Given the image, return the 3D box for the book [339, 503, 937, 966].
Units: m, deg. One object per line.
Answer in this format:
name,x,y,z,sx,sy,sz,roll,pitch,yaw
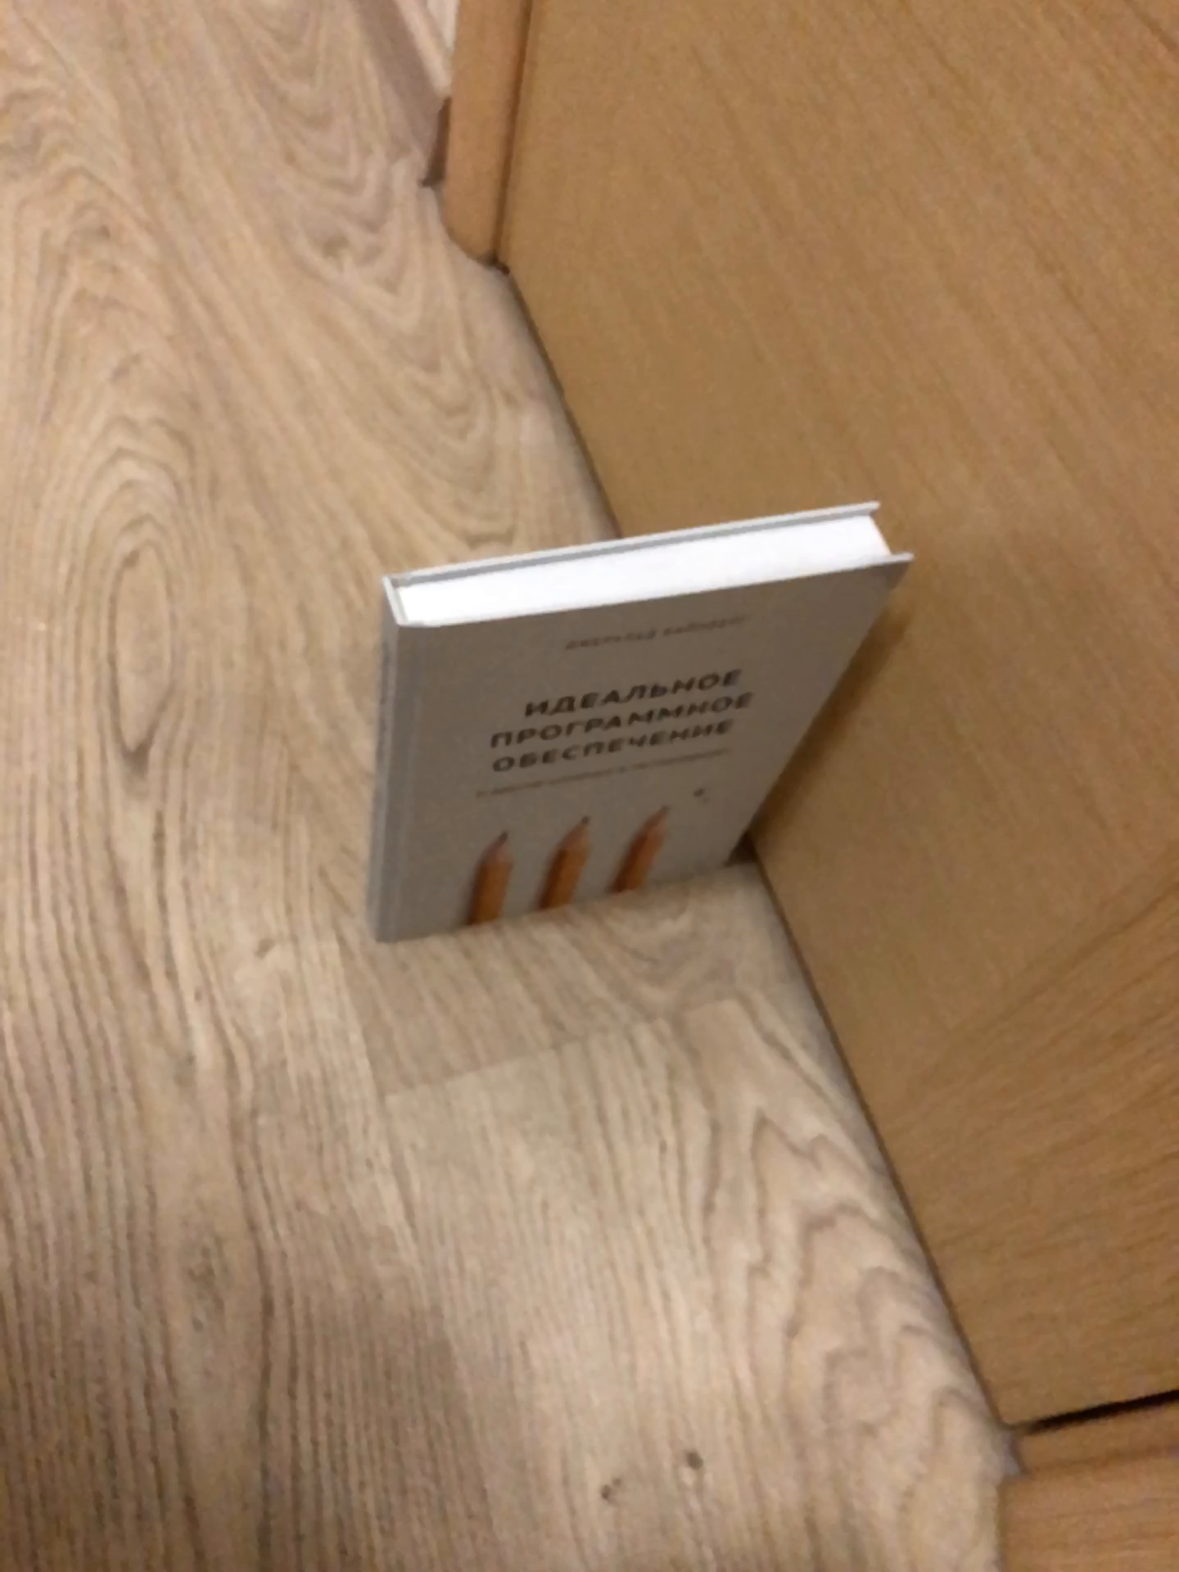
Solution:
book,0.000,-0.007,0.441,0.163,0.209,0.023,-12,64,-18
